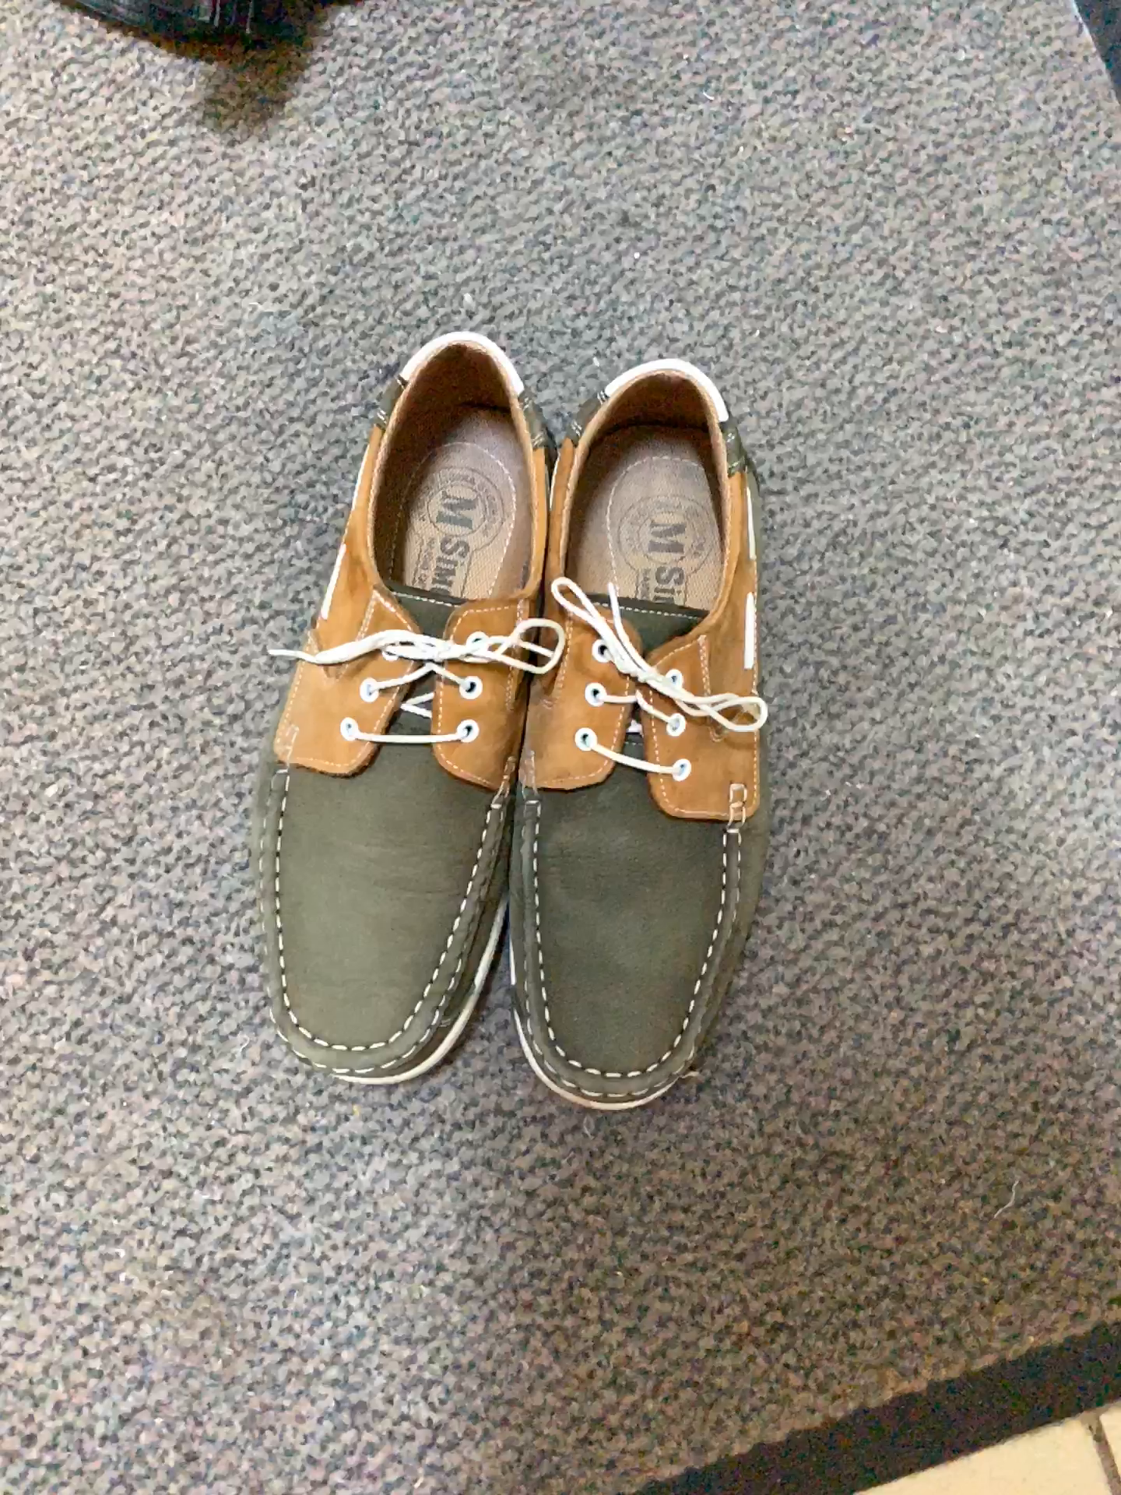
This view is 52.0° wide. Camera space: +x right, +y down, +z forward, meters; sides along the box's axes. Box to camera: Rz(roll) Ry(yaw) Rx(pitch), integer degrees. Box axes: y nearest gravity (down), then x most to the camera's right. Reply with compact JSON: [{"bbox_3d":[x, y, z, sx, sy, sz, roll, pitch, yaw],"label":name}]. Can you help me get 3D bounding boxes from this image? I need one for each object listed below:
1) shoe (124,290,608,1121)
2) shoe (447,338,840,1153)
[{"bbox_3d":[-0.061,-0.011,0.446,0.107,0.130,0.270,10,78,0],"label":"shoe"},{"bbox_3d":[0.031,0.003,0.450,0.107,0.130,0.270,7,78,0],"label":"shoe"}]
